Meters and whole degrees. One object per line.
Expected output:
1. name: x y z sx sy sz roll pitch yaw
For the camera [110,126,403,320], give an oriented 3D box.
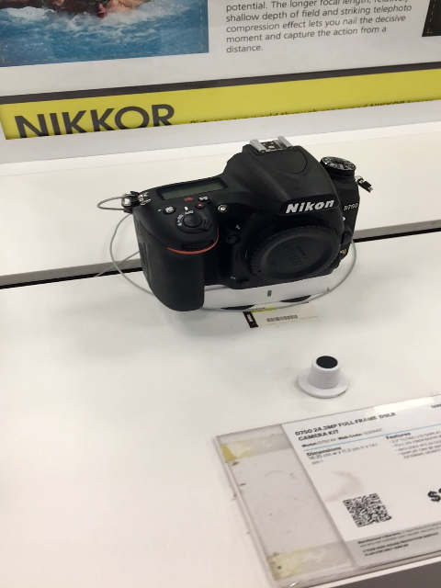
1. camera: 0.020 -0.050 0.398 0.159 0.093 0.076 -11 44 -12
